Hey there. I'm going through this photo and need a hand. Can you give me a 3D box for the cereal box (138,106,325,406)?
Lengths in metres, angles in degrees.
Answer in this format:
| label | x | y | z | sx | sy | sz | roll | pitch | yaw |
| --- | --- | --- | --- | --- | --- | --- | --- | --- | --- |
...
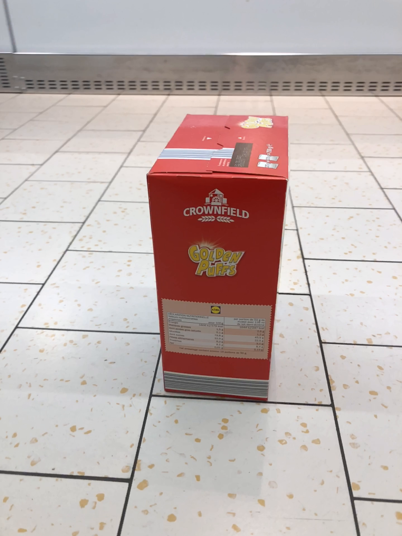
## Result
| label | x | y | z | sx | sy | sz | roll | pitch | yaw |
| --- | --- | --- | --- | --- | --- | --- | --- | --- | --- |
| cereal box | 0.038 | -0.022 | 0.480 | 0.140 | 0.248 | 0.201 | 4 | 33 | 7 |
